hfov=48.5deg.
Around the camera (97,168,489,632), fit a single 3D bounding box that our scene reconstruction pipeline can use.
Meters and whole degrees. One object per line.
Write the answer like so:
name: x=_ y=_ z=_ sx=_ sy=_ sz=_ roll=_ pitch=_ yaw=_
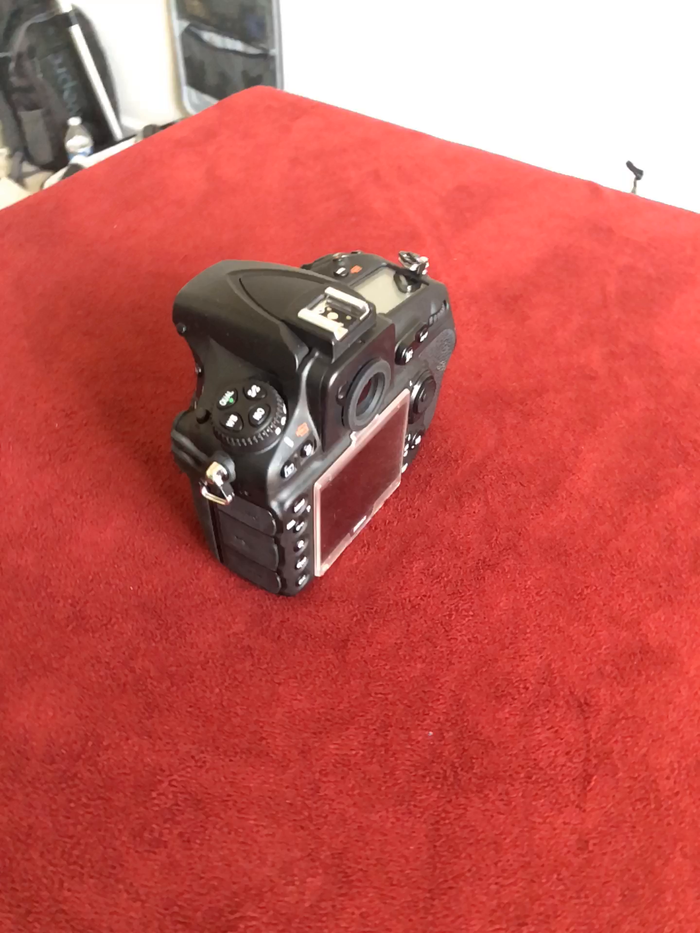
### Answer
camera: x=-0.015 y=-0.034 z=0.348 sx=0.083 sy=0.129 sz=0.146 roll=25 pitch=51 yaw=22
